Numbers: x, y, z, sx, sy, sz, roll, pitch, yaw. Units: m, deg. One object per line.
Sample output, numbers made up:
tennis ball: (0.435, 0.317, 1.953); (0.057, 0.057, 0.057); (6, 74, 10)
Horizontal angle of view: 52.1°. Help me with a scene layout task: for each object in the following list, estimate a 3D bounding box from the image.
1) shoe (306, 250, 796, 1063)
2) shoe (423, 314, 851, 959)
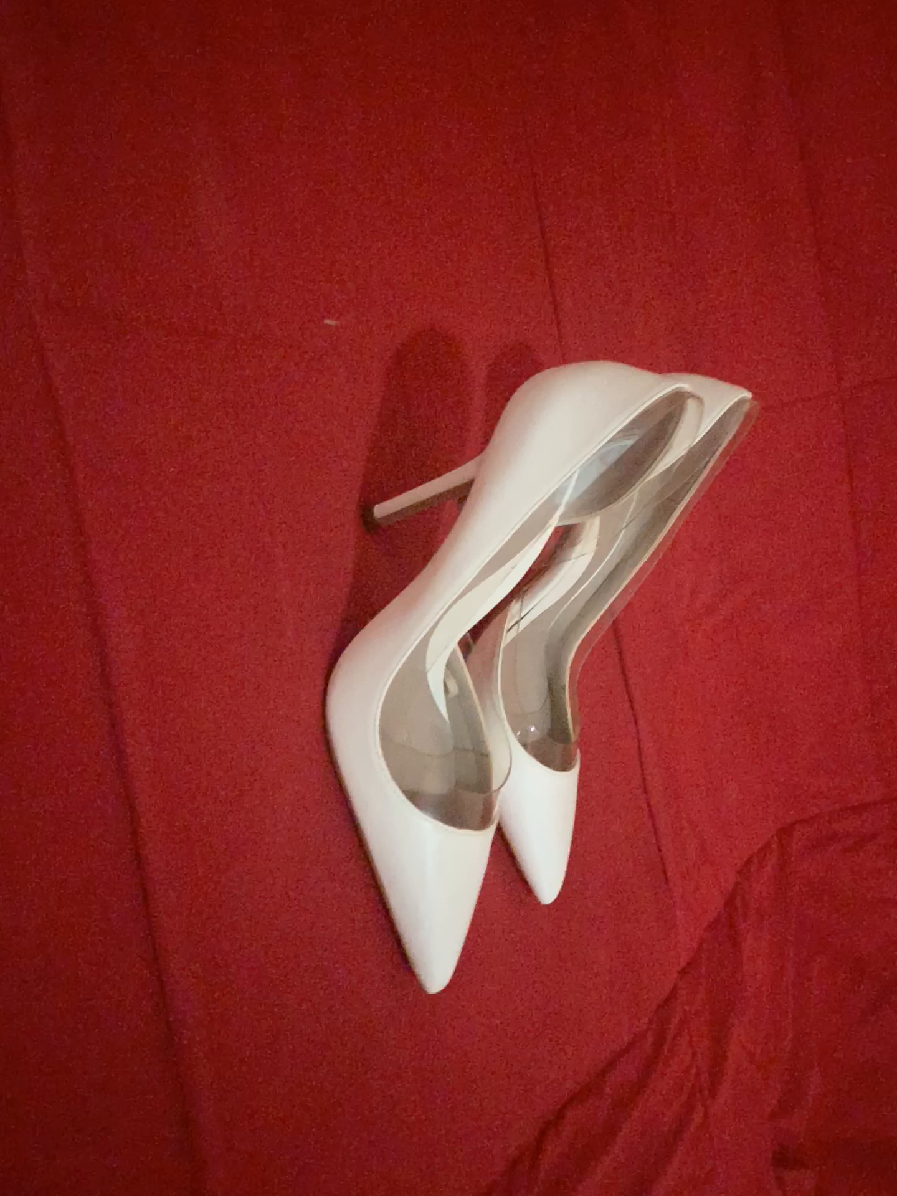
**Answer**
shoe: (0.032, 0.024, 0.350); (0.098, 0.136, 0.243); (11, 72, -52)
shoe: (0.080, 0.023, 0.417); (0.098, 0.139, 0.240); (11, 72, -52)
